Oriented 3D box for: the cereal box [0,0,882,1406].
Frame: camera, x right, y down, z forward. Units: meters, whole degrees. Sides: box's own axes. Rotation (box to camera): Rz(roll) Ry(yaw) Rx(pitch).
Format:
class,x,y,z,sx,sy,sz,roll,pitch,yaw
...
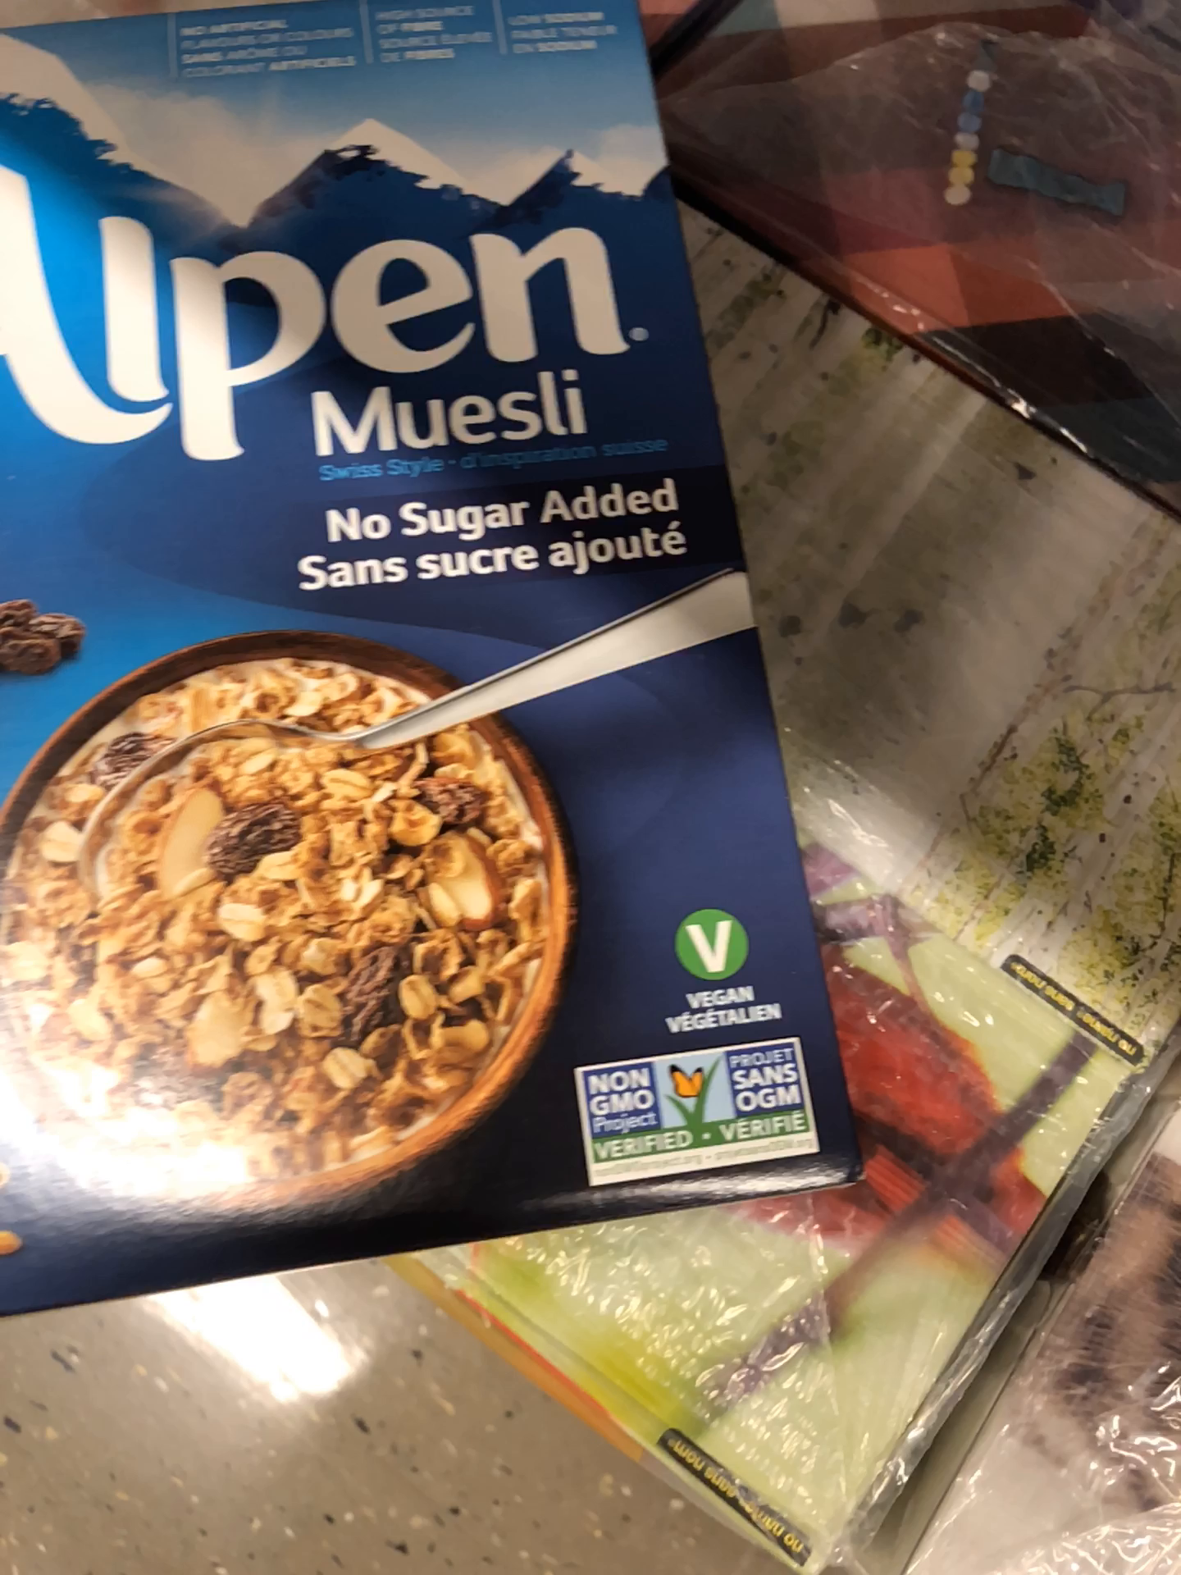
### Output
class,x,y,z,sx,sy,sz,roll,pitch,yaw
cereal box,-0.071,-0.048,0.252,0.190,0.050,0.270,-8,74,-5
